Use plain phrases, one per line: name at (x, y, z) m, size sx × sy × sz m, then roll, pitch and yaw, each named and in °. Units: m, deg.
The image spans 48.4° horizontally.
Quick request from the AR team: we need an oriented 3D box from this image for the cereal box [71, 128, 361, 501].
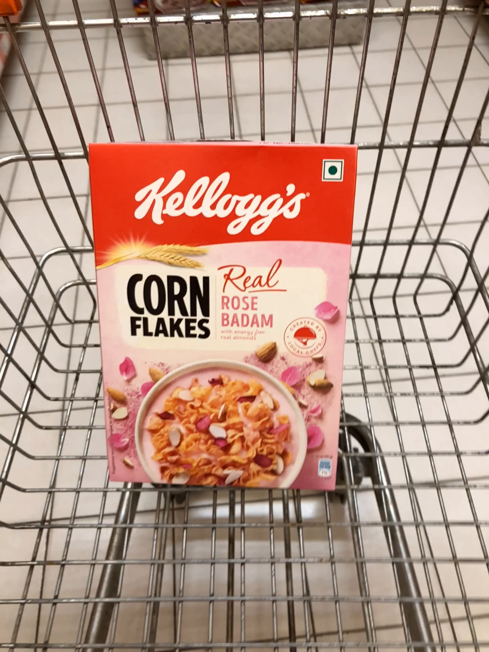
cereal box at (-0.018, -0.008, 0.410) m, size 0.180 × 0.259 × 0.080 m, roll 1°, pitch 16°, yaw 3°
